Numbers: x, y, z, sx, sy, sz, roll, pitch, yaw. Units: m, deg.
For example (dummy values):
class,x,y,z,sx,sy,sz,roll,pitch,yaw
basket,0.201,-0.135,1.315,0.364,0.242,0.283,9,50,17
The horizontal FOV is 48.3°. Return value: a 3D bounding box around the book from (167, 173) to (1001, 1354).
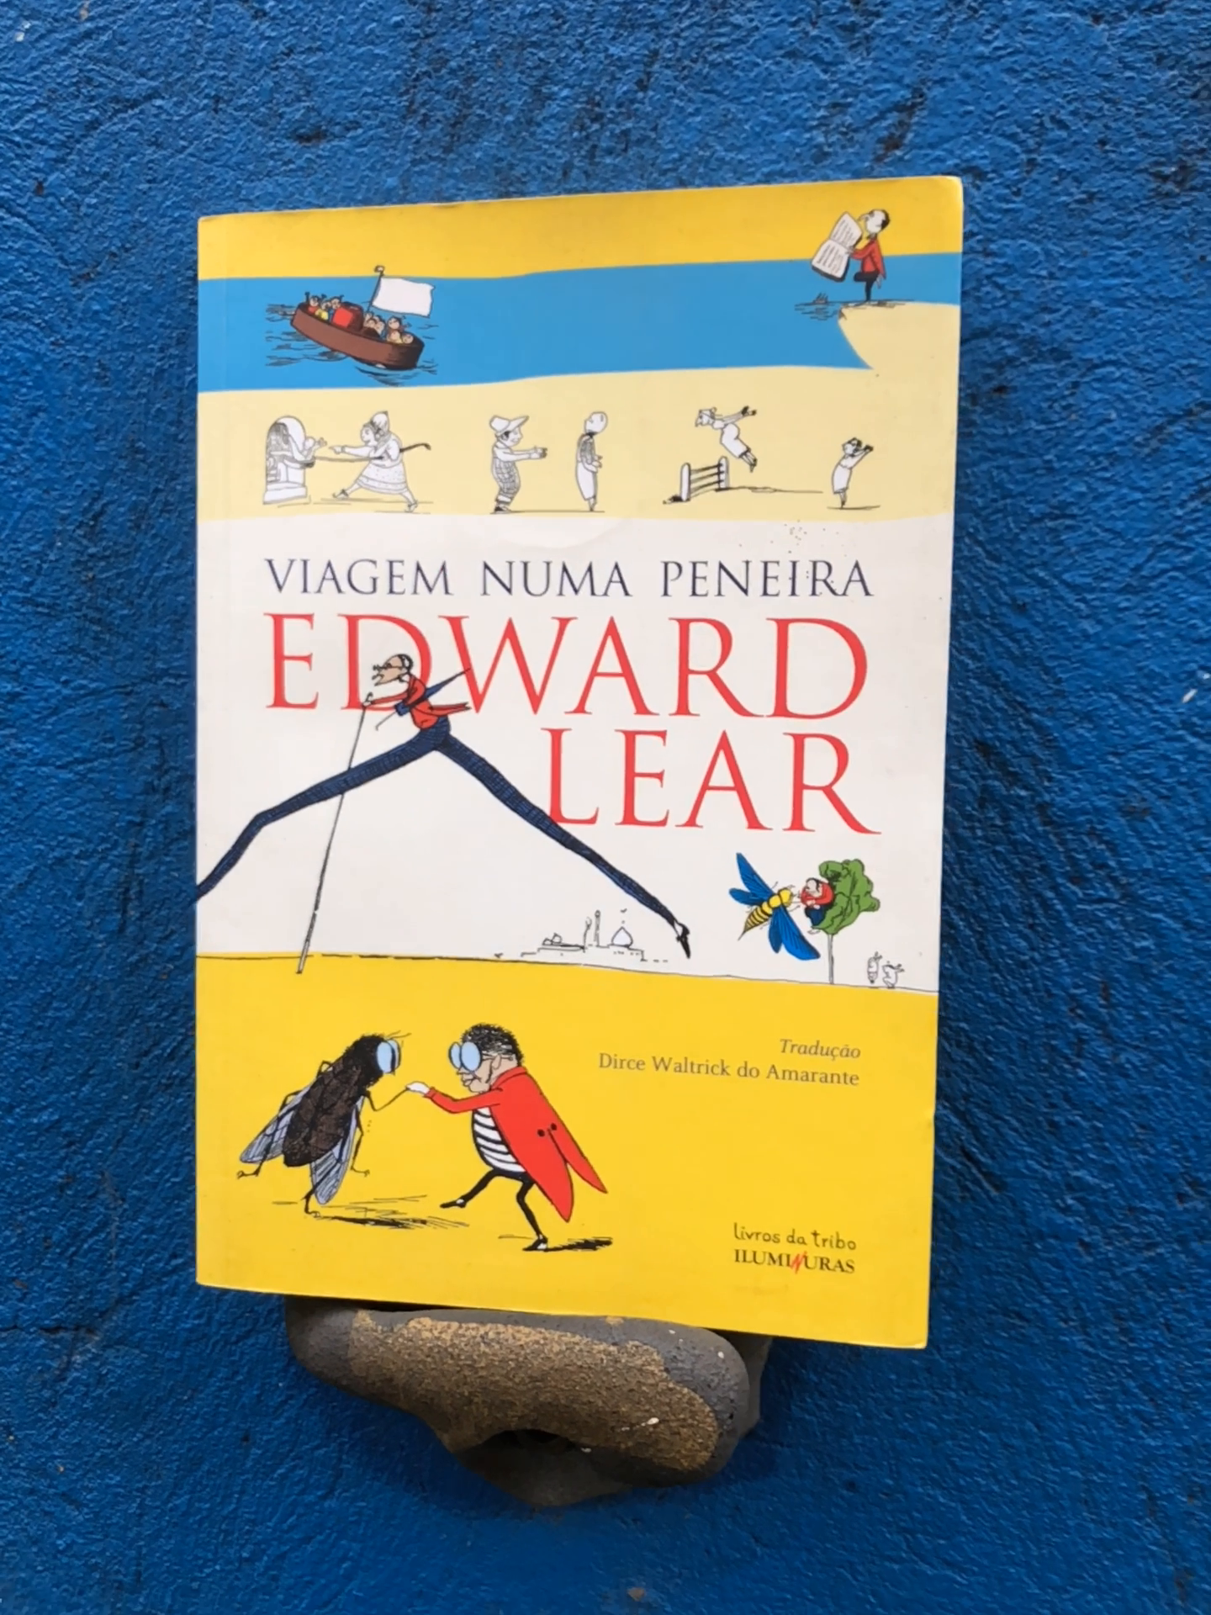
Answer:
class,x,y,z,sx,sy,sz,roll,pitch,yaw
book,-0.008,-0.008,0.271,0.158,0.220,0.021,2,4,7
